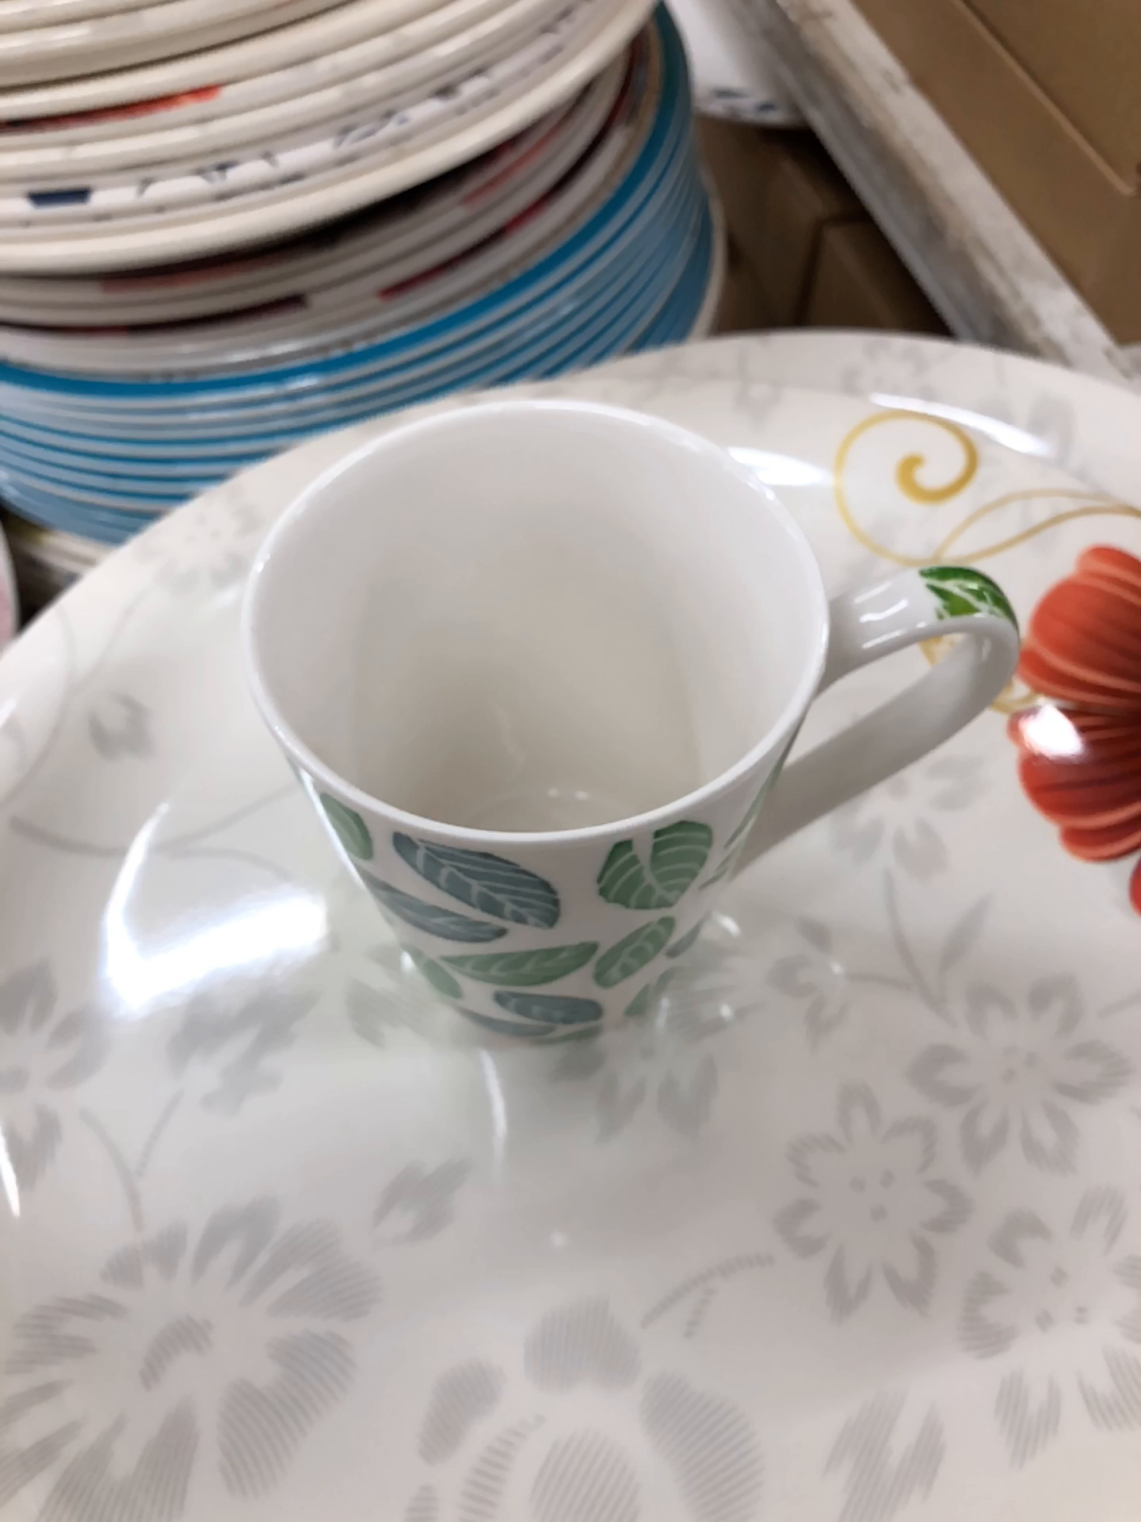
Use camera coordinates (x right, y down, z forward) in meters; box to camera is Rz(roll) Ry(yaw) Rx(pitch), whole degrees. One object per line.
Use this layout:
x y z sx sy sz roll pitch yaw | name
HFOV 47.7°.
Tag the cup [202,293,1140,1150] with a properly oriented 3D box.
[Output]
0.011 -0.001 0.241 0.120 0.119 0.080 -14 59 -10 | cup
